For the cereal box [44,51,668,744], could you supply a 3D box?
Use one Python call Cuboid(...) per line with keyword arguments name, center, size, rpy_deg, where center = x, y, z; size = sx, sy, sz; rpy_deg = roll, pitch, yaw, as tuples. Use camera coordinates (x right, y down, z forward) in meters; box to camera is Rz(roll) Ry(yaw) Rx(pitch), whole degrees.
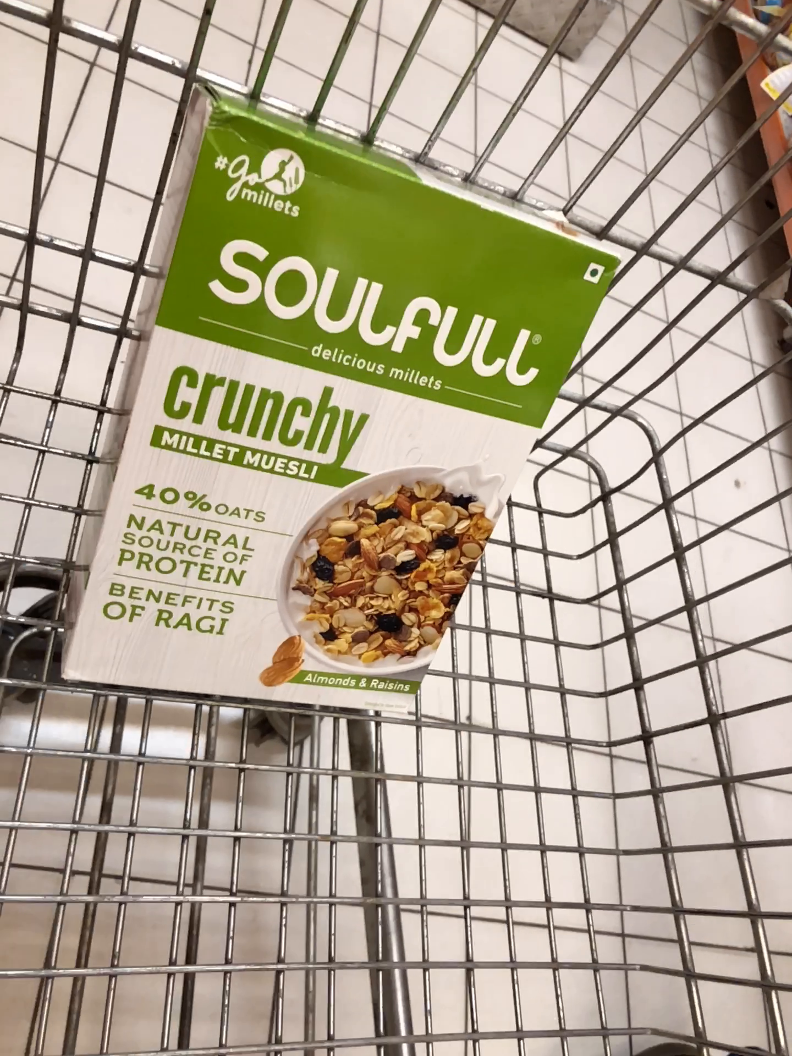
Cuboid(name="cereal box", center=(-0.029, -0.032, 0.360), size=(0.170, 0.239, 0.070), rpy_deg=(11, 26, -25))
